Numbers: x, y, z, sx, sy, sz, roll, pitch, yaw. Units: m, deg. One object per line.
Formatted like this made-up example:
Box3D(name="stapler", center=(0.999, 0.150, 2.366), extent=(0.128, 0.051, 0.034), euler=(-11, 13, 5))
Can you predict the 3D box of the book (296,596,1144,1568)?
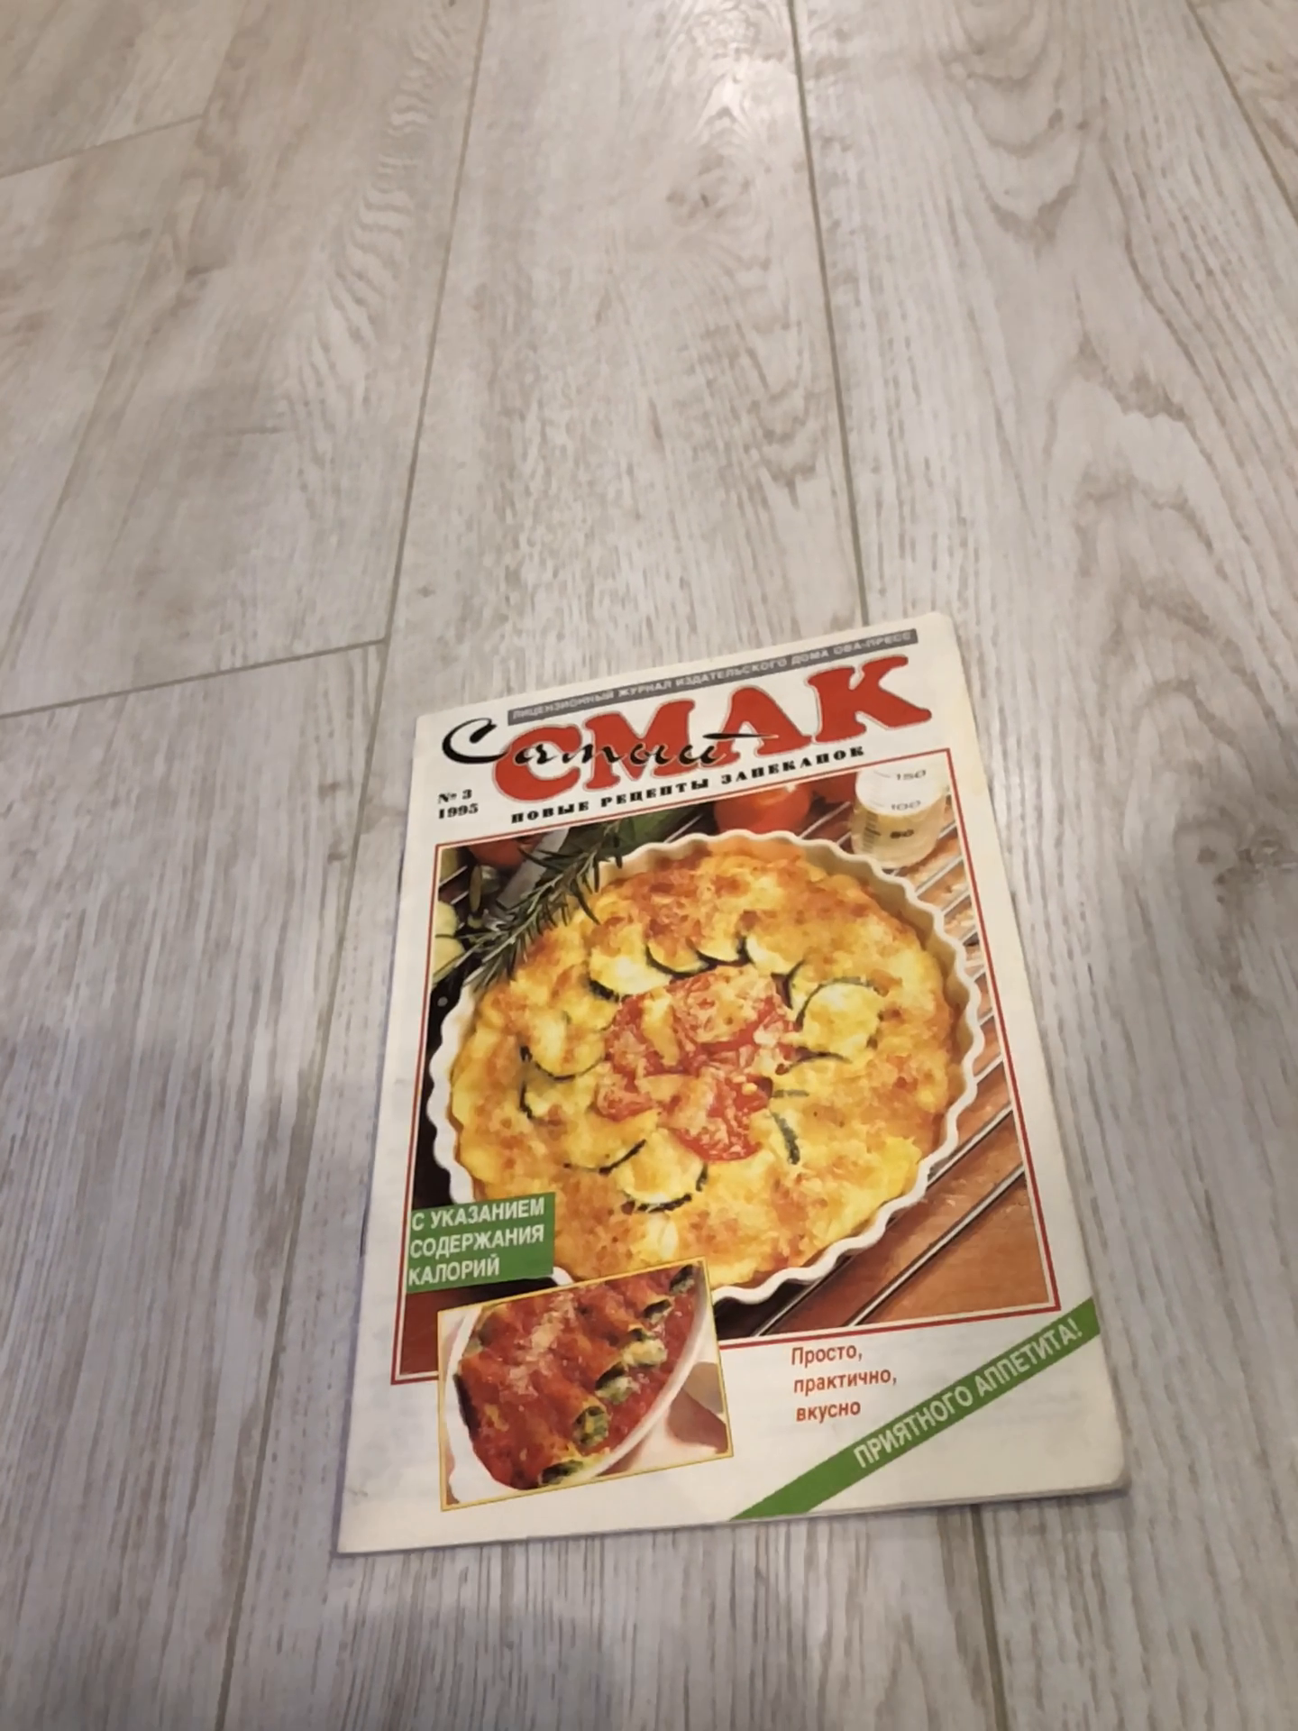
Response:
Box3D(name="book", center=(0.009, 0.037, 0.349), extent=(0.165, 0.020, 0.230), euler=(-10, 52, 11))
